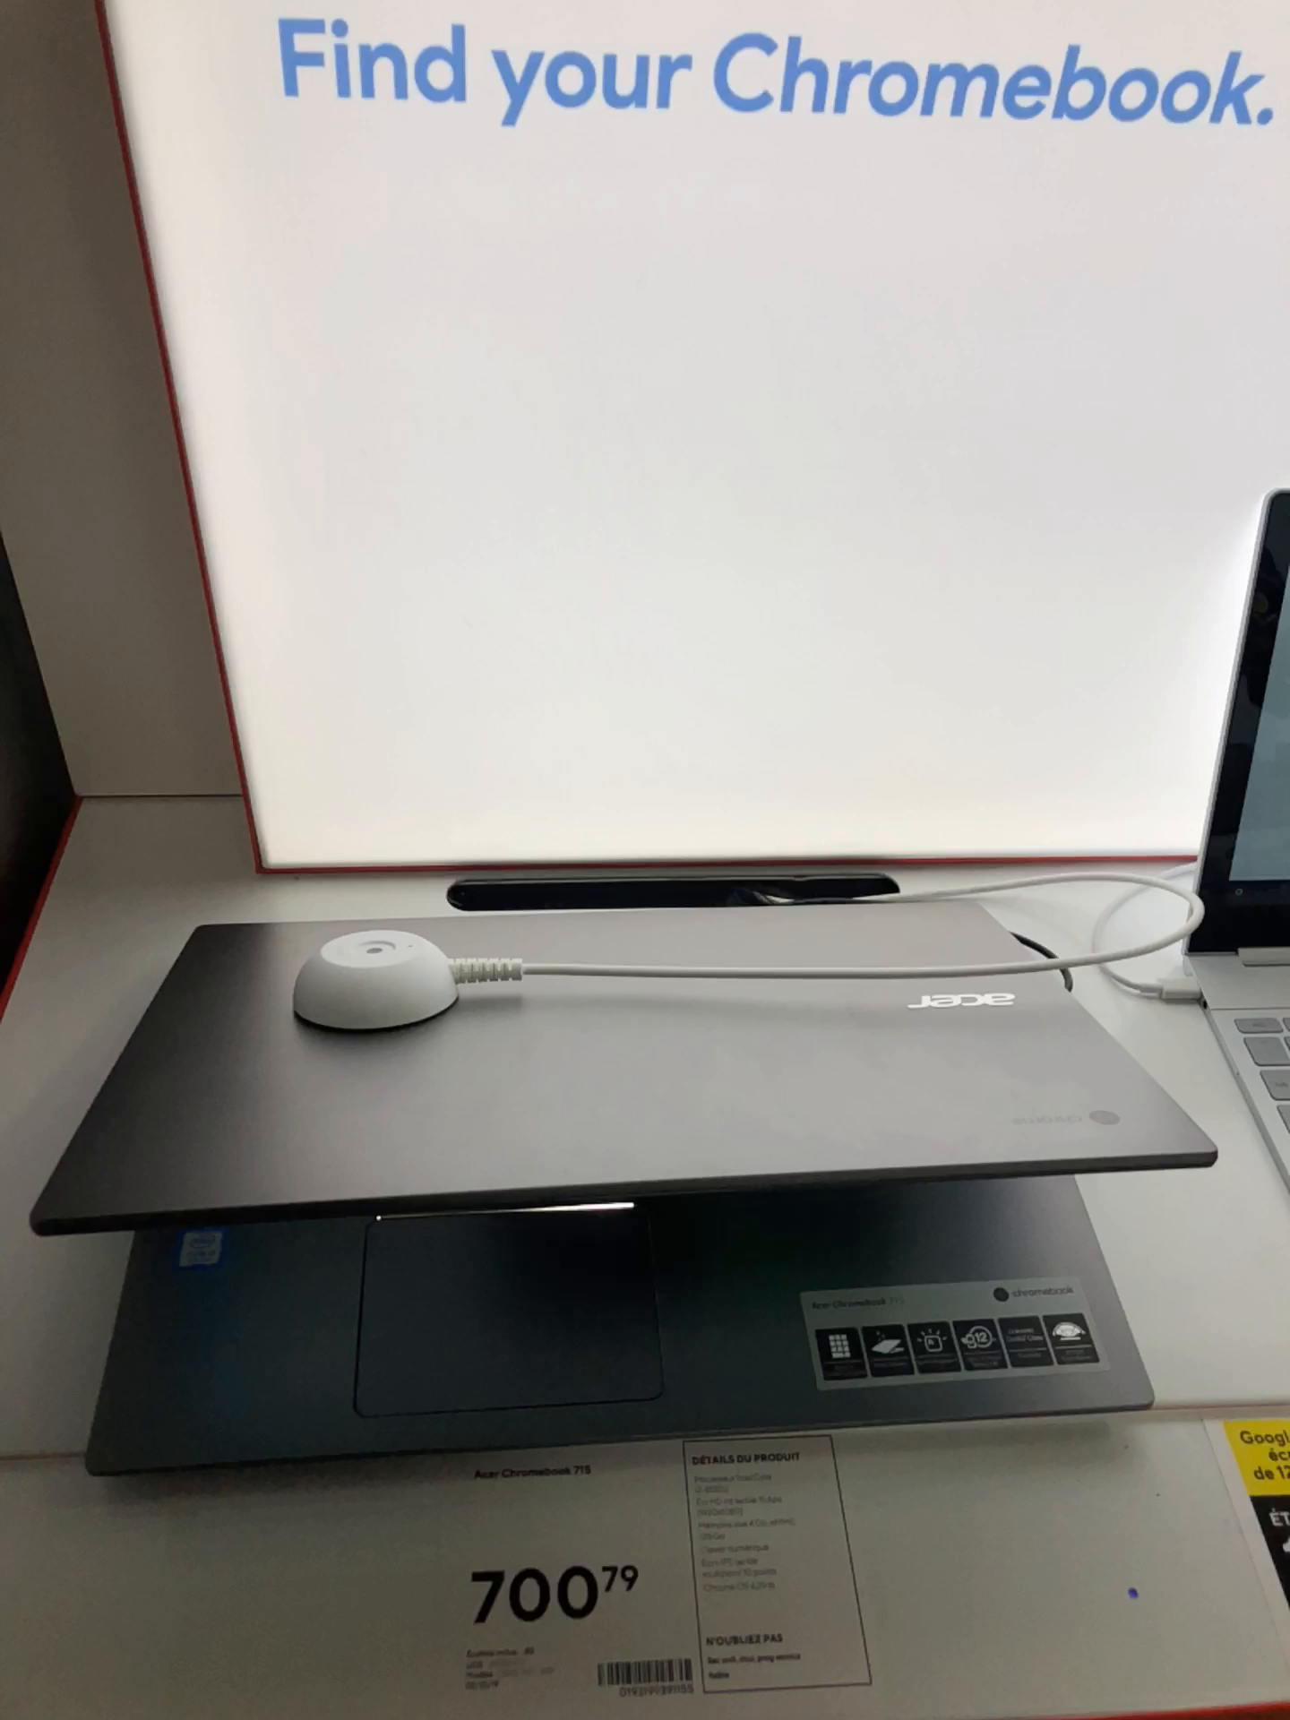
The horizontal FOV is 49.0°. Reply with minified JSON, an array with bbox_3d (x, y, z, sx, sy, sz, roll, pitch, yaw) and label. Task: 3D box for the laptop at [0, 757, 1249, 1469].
[{"bbox_3d":[-0.011,0.076,0.525,0.356,0.105,0.236,-1,41,-5],"label":"laptop"}]
